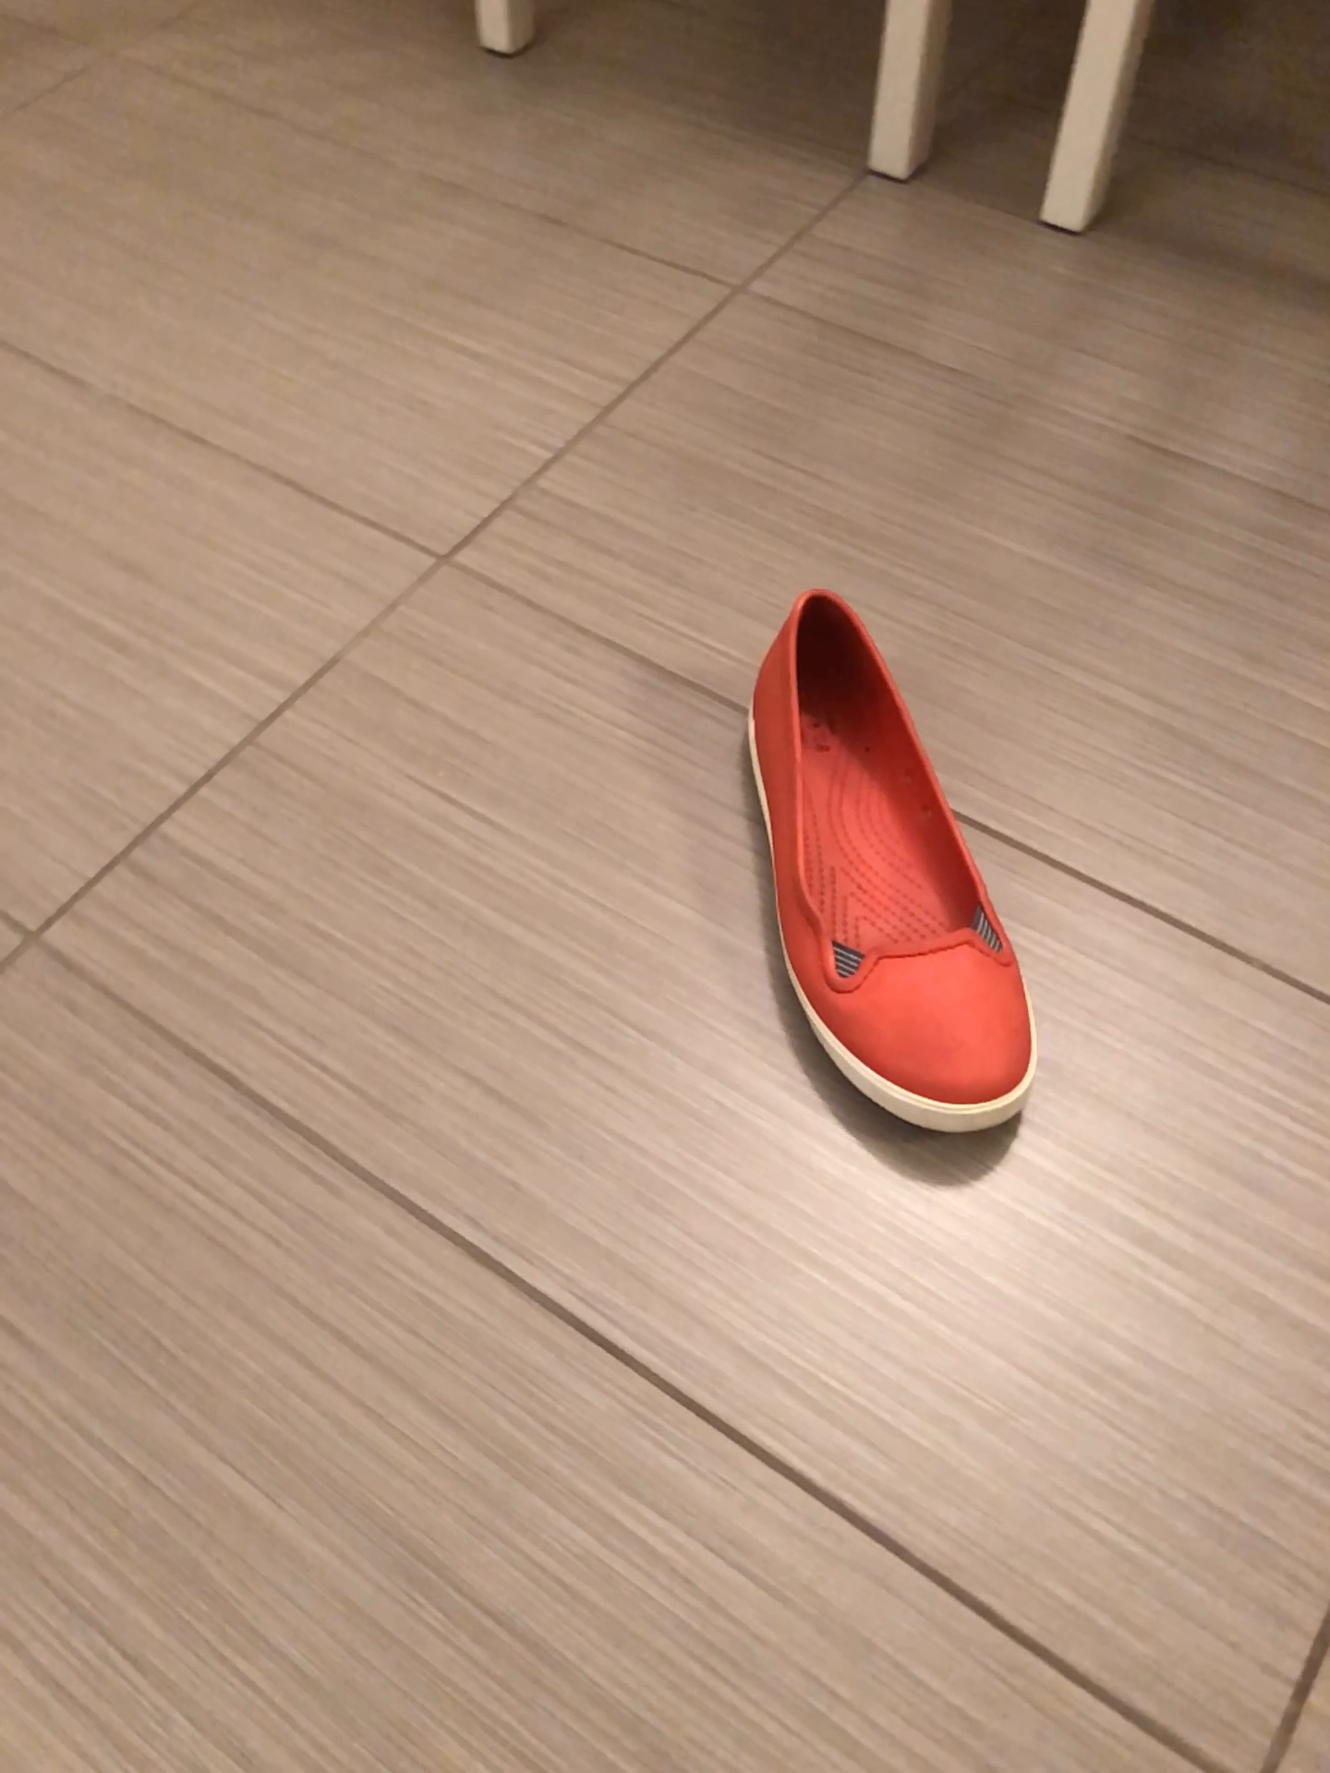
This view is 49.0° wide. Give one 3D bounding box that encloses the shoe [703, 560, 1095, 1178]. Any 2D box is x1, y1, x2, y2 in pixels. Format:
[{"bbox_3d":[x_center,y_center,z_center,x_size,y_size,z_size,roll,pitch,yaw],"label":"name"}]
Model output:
[{"bbox_3d":[0.090,-0.019,0.641,0.100,0.070,0.271,-9,55,-3],"label":"shoe"}]
